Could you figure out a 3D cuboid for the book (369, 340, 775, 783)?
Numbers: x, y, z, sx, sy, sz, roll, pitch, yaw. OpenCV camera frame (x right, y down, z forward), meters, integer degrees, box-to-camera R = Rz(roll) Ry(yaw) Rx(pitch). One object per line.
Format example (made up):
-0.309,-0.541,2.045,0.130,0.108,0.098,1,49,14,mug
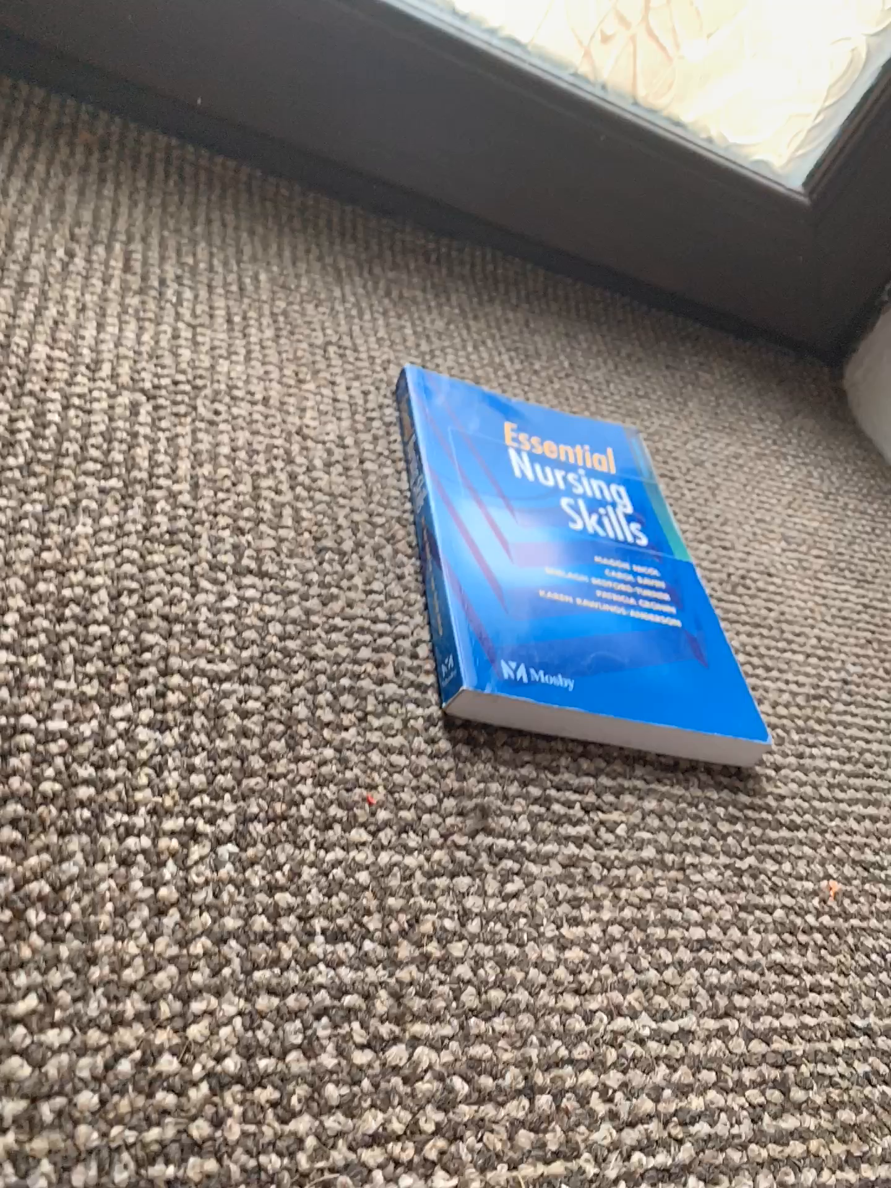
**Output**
0.052,-0.028,0.471,0.170,0.020,0.252,11,45,-21,book
